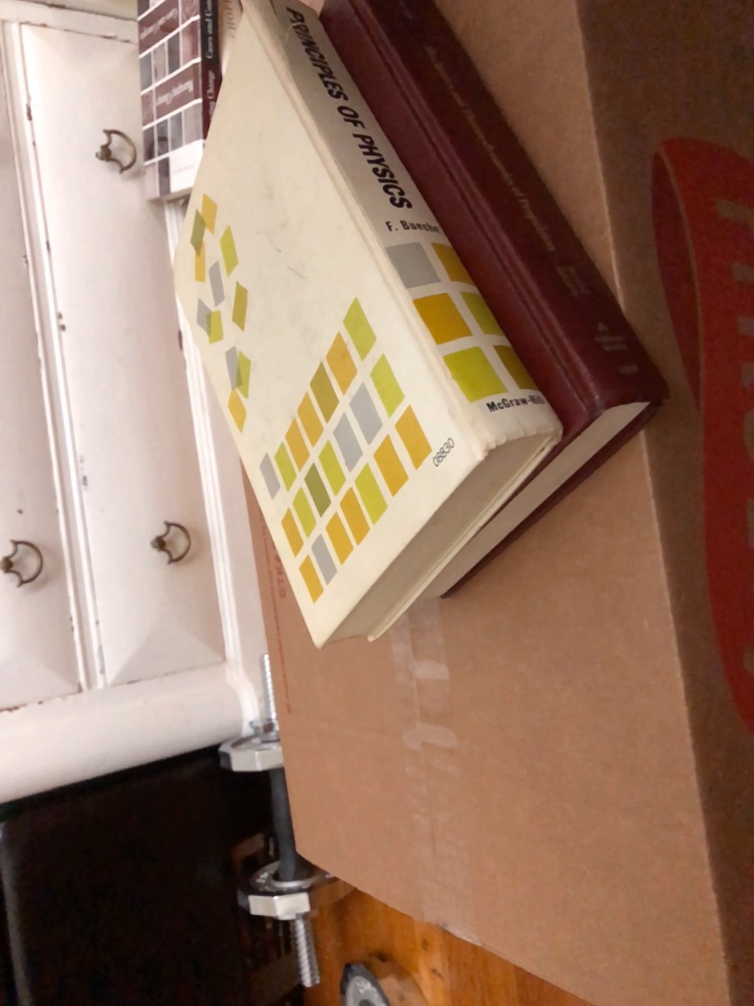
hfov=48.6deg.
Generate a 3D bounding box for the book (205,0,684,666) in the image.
[{"bbox_3d":[0.003,-0.077,0.387,0.181,0.040,0.250,-48,58,49],"label":"book"}]

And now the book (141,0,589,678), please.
[{"bbox_3d":[-0.033,-0.074,0.382,0.181,0.040,0.250,-52,56,47],"label":"book"}]
